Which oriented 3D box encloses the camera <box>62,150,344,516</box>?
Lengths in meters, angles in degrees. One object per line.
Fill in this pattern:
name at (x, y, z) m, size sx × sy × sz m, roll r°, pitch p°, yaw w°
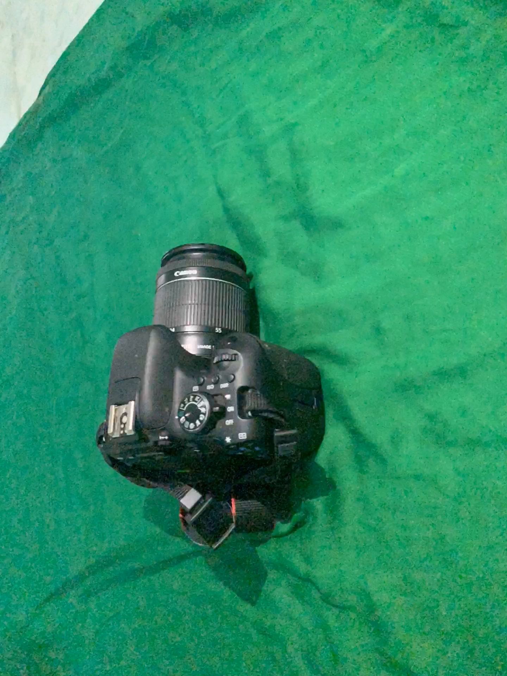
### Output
camera at (-0.045, 0.011, 0.357) m, size 0.153 × 0.100 × 0.190 m, roll -22°, pitch 66°, yaw 38°
